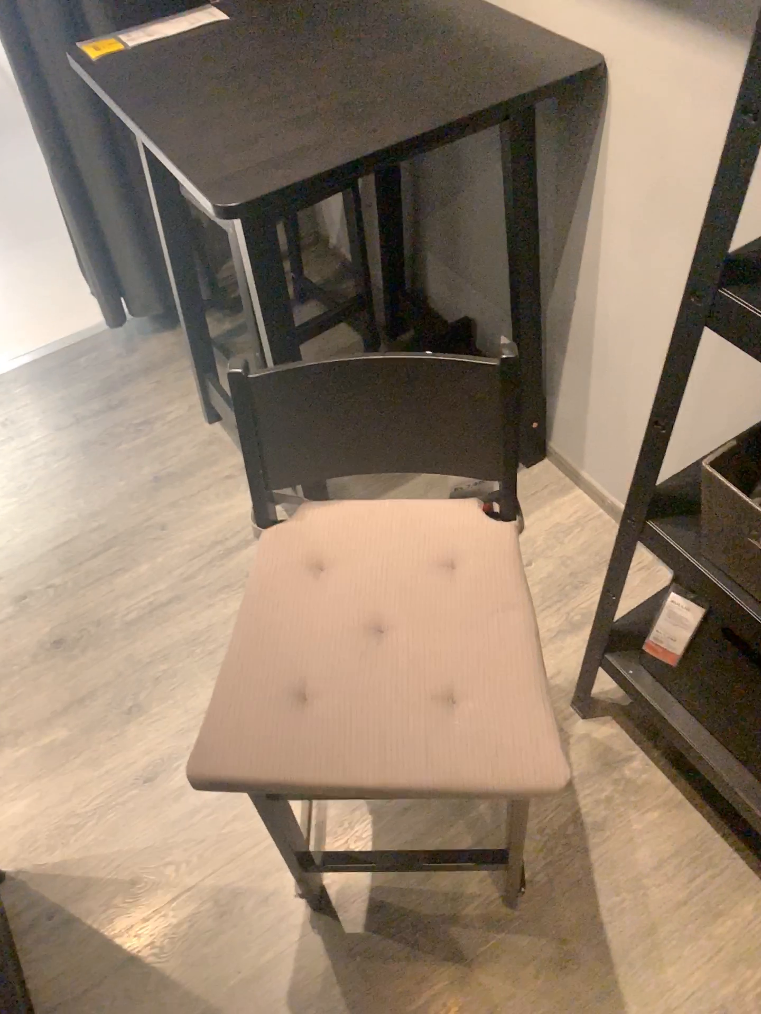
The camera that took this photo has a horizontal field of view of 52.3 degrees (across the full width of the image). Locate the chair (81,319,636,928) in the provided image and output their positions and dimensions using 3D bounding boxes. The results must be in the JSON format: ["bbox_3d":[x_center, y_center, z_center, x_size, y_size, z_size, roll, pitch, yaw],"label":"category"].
[{"bbox_3d":[0.012,0.254,1.141,0.460,0.889,0.501,-2,52,4],"label":"chair"}]
